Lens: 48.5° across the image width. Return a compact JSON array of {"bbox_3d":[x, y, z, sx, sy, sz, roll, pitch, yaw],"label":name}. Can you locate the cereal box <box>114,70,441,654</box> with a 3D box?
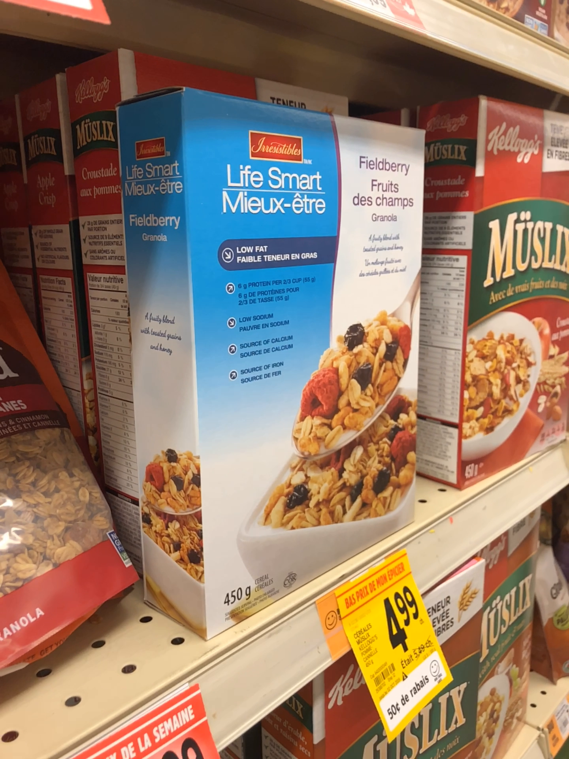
[{"bbox_3d":[0.008,-0.014,0.330,0.170,0.239,0.050,-13,18,-43],"label":"cereal box"}]
